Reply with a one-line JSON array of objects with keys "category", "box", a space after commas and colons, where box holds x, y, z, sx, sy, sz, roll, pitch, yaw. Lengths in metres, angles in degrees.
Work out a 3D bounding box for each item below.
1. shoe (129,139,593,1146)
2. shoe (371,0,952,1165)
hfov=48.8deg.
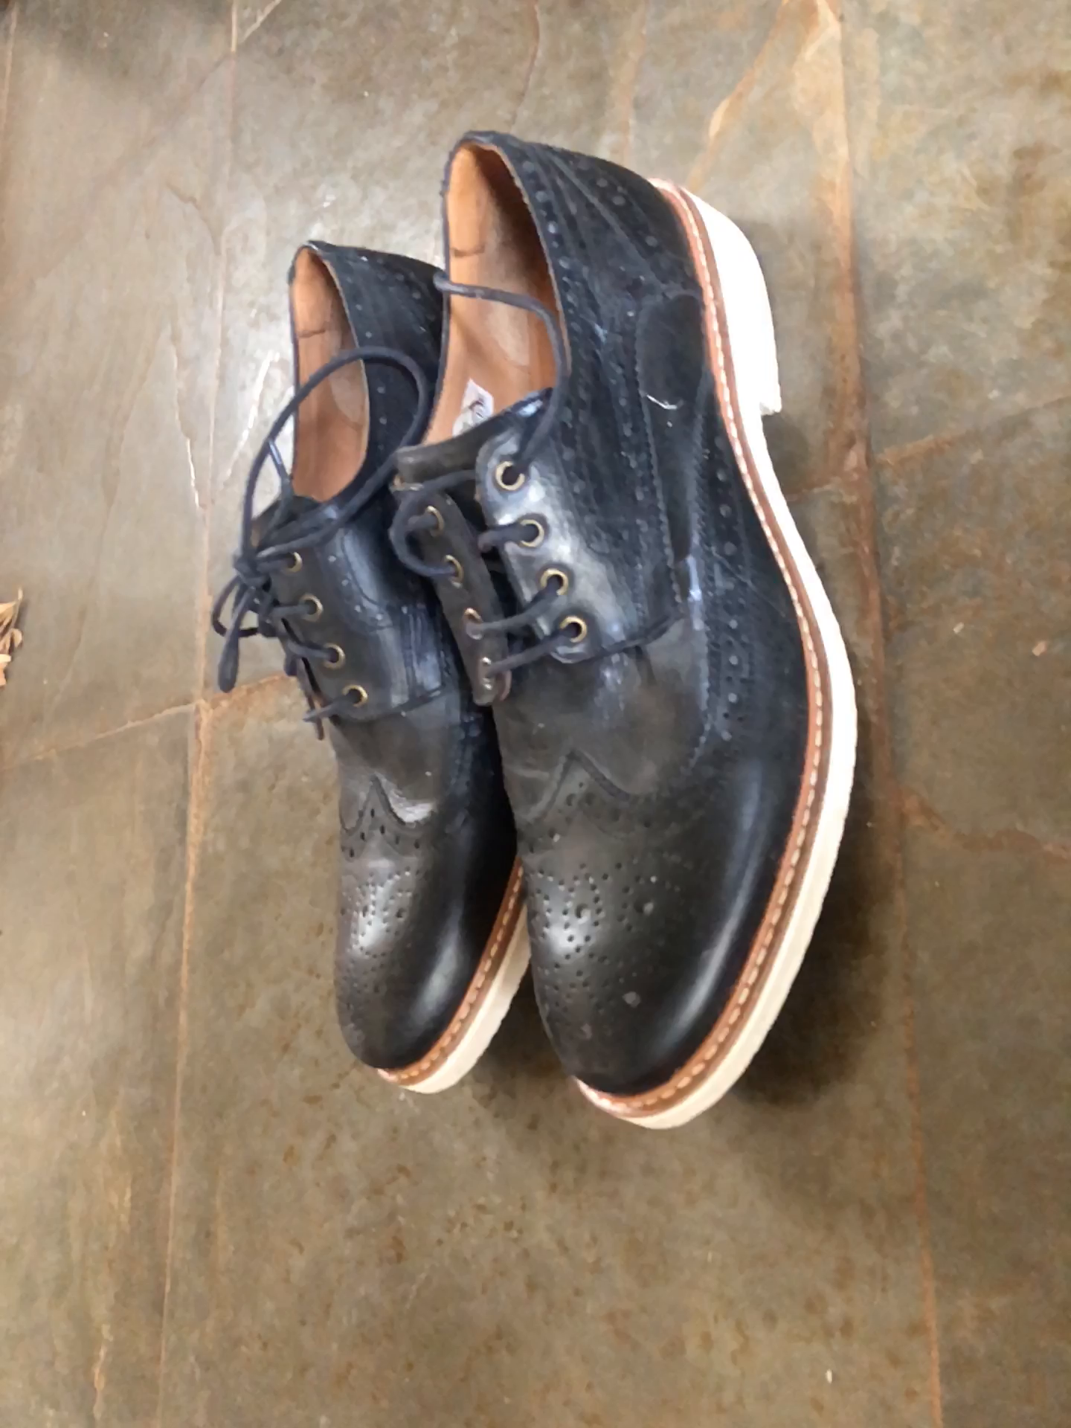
[{"category": "shoe", "box": [-0.055, -0.018, 0.402, 0.110, 0.100, 0.290, -12, 73, 46]}, {"category": "shoe", "box": [0.026, -0.040, 0.340, 0.110, 0.100, 0.300, -16, 70, 45]}]
